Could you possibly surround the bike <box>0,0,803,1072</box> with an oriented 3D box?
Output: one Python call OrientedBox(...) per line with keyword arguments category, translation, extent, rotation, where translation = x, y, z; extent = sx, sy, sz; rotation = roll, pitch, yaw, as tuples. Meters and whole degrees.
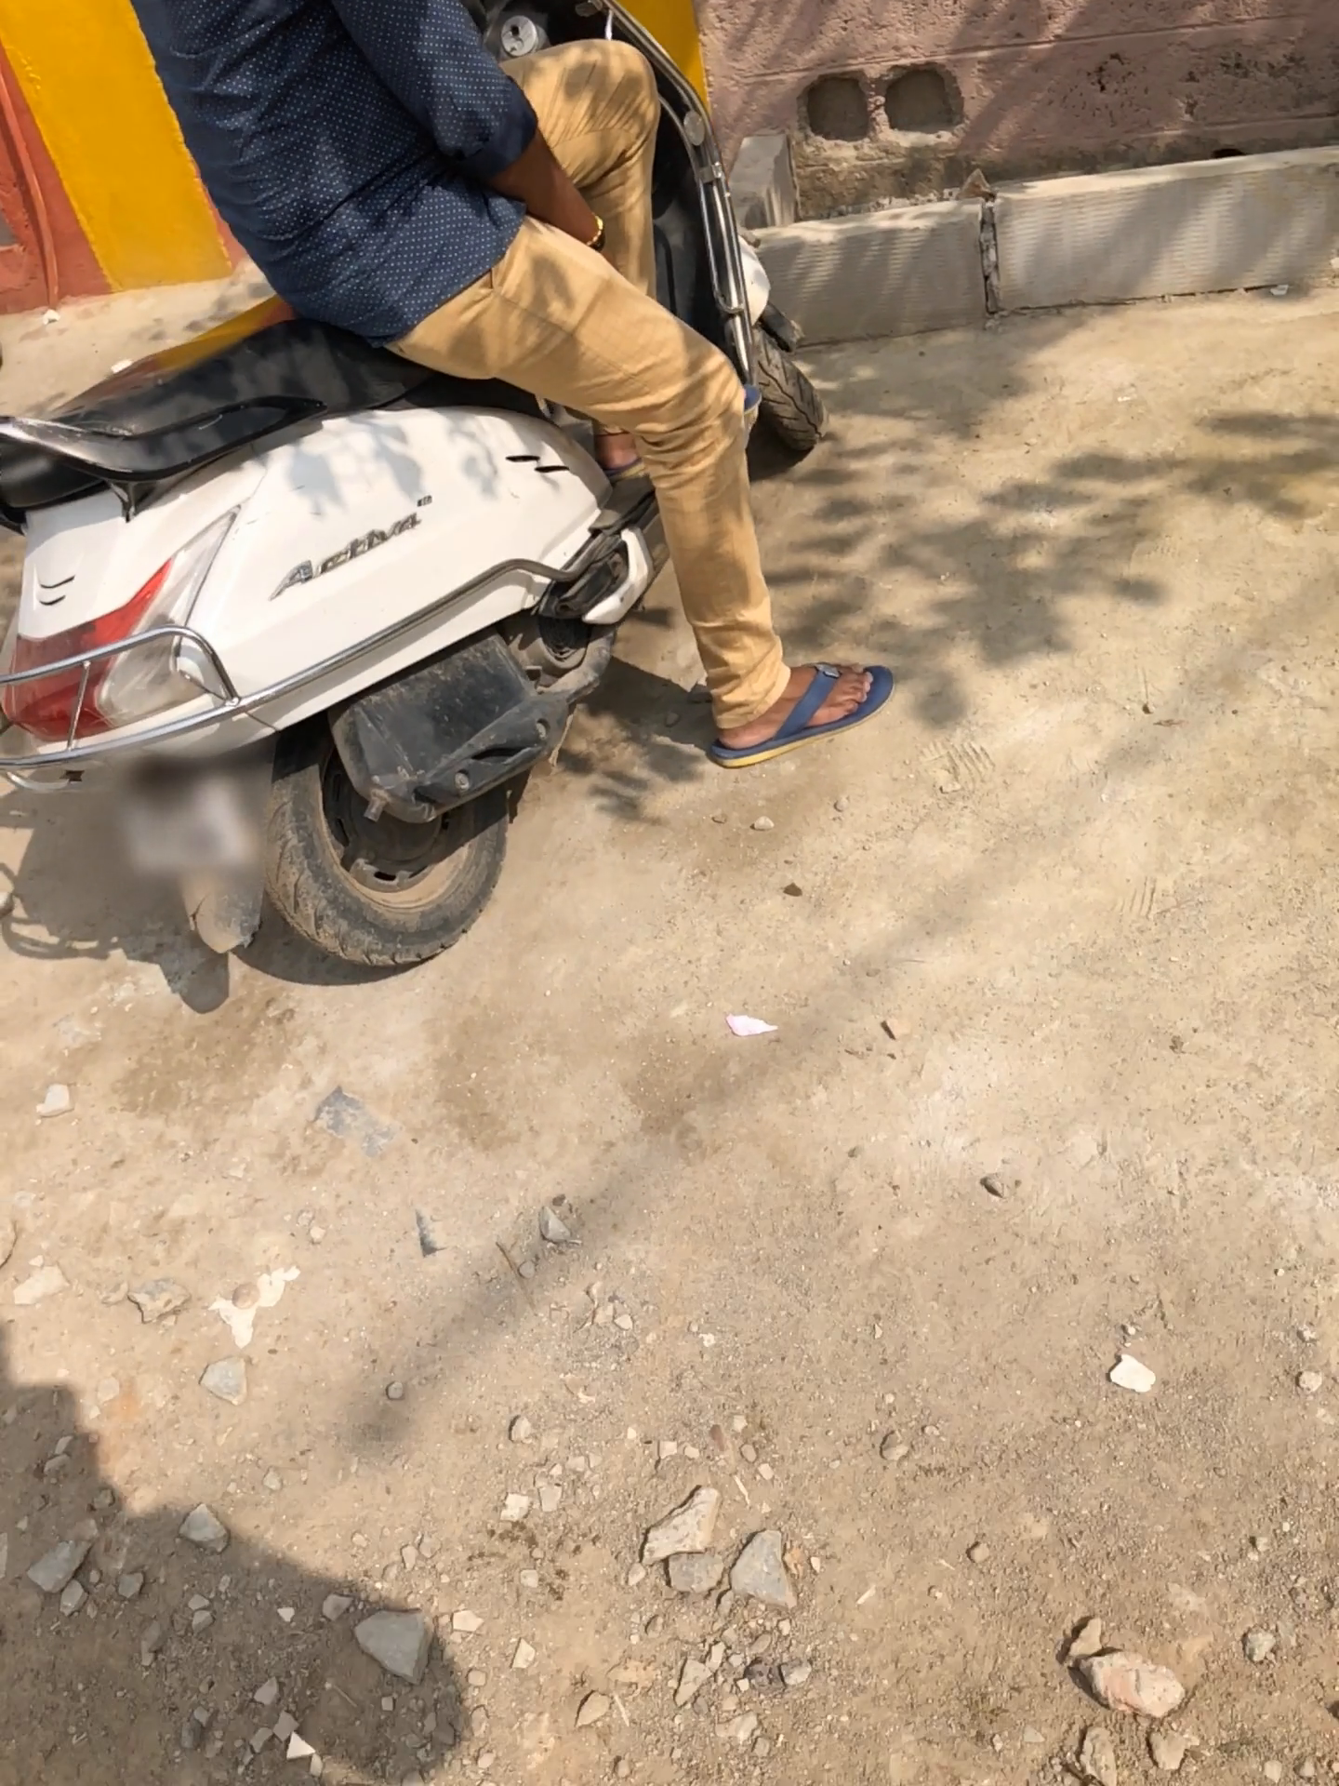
OrientedBox(category="bike", translation=(-0.401, -0.805, 2.148), extent=(0.621, 1.188, 1.602), rotation=(8, 47, 23))
